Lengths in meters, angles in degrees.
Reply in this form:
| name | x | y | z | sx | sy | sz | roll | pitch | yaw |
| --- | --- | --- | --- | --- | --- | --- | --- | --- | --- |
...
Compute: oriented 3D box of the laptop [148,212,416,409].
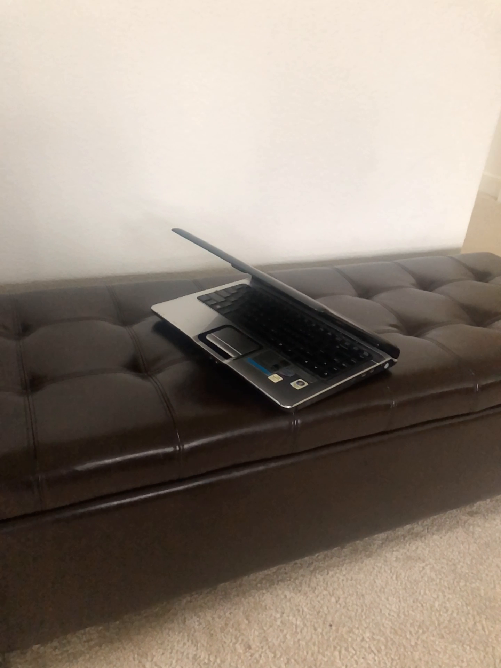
| name | x | y | z | sx | sy | sz | roll | pitch | yaw |
| --- | --- | --- | --- | --- | --- | --- | --- | --- | --- |
| laptop | 0.030 | -0.062 | 0.822 | 0.230 | 0.122 | 0.333 | -18 | 36 | -36 |
